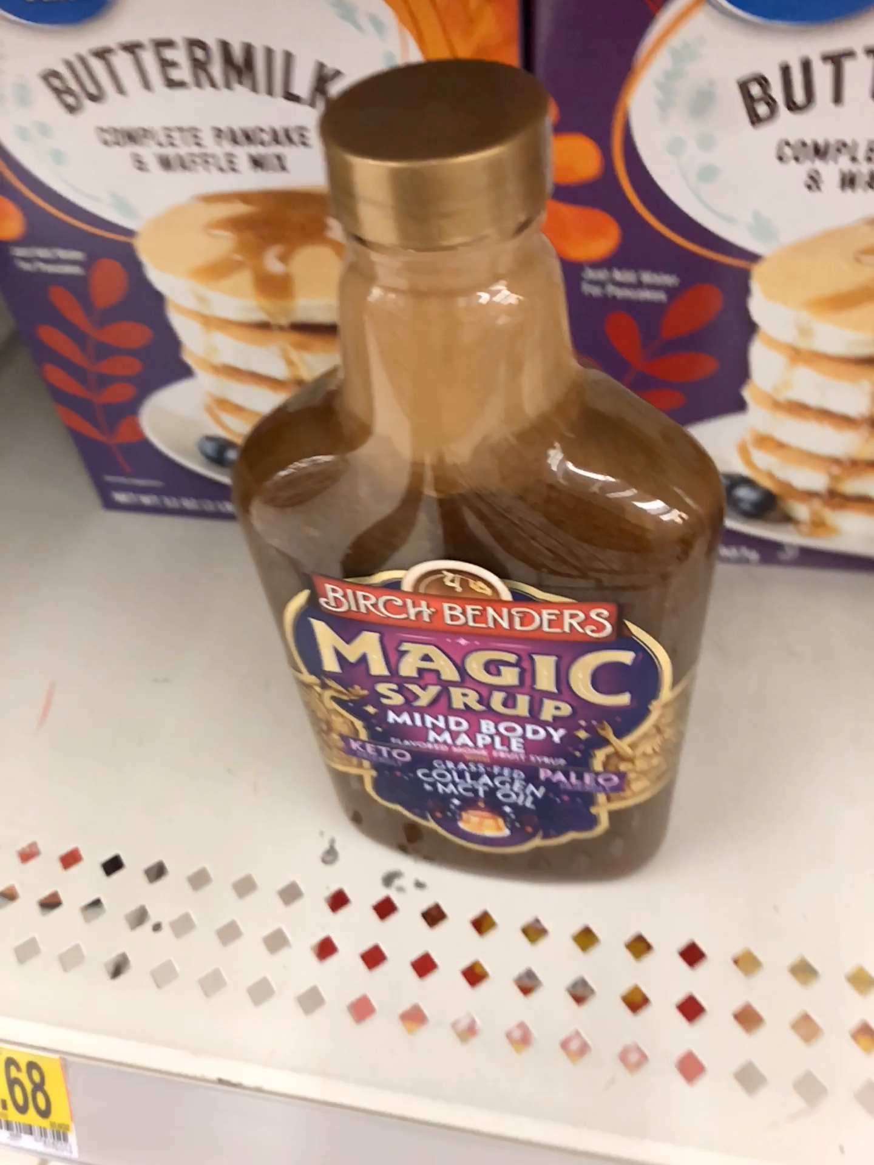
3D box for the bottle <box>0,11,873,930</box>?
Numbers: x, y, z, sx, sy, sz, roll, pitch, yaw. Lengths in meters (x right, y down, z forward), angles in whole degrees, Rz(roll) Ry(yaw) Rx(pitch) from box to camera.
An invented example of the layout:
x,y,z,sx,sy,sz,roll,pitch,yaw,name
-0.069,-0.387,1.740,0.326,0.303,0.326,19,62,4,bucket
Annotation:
x,y,z,sx,sy,sz,roll,pitch,yaw,name
0.011,-0.002,0.189,0.100,0.180,0.050,7,51,13,bottle
